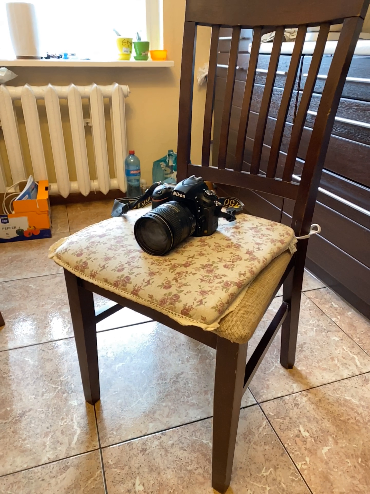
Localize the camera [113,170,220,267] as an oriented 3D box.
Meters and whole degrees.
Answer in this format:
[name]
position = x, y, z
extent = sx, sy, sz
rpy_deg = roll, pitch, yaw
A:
[camera]
position = -0.032, -0.065, 0.740
extent = 0.135, 0.120, 0.164
rpy_deg = 16, 29, 28
